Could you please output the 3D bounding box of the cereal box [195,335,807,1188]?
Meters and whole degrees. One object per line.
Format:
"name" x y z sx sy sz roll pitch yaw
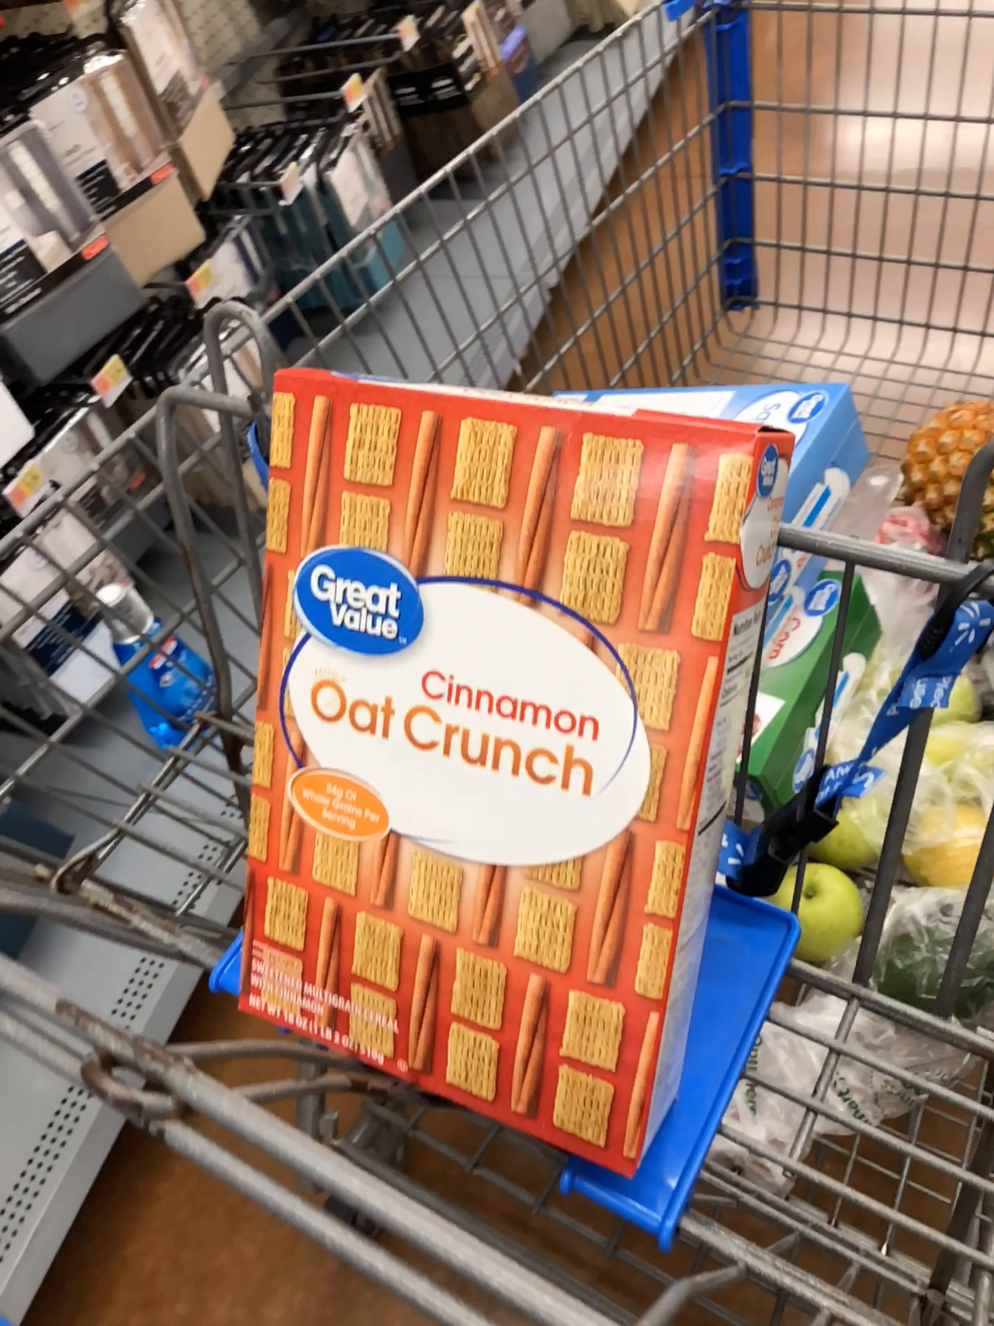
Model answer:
"cereal box" -0.011 0.028 0.434 0.200 0.280 0.070 14 17 24
